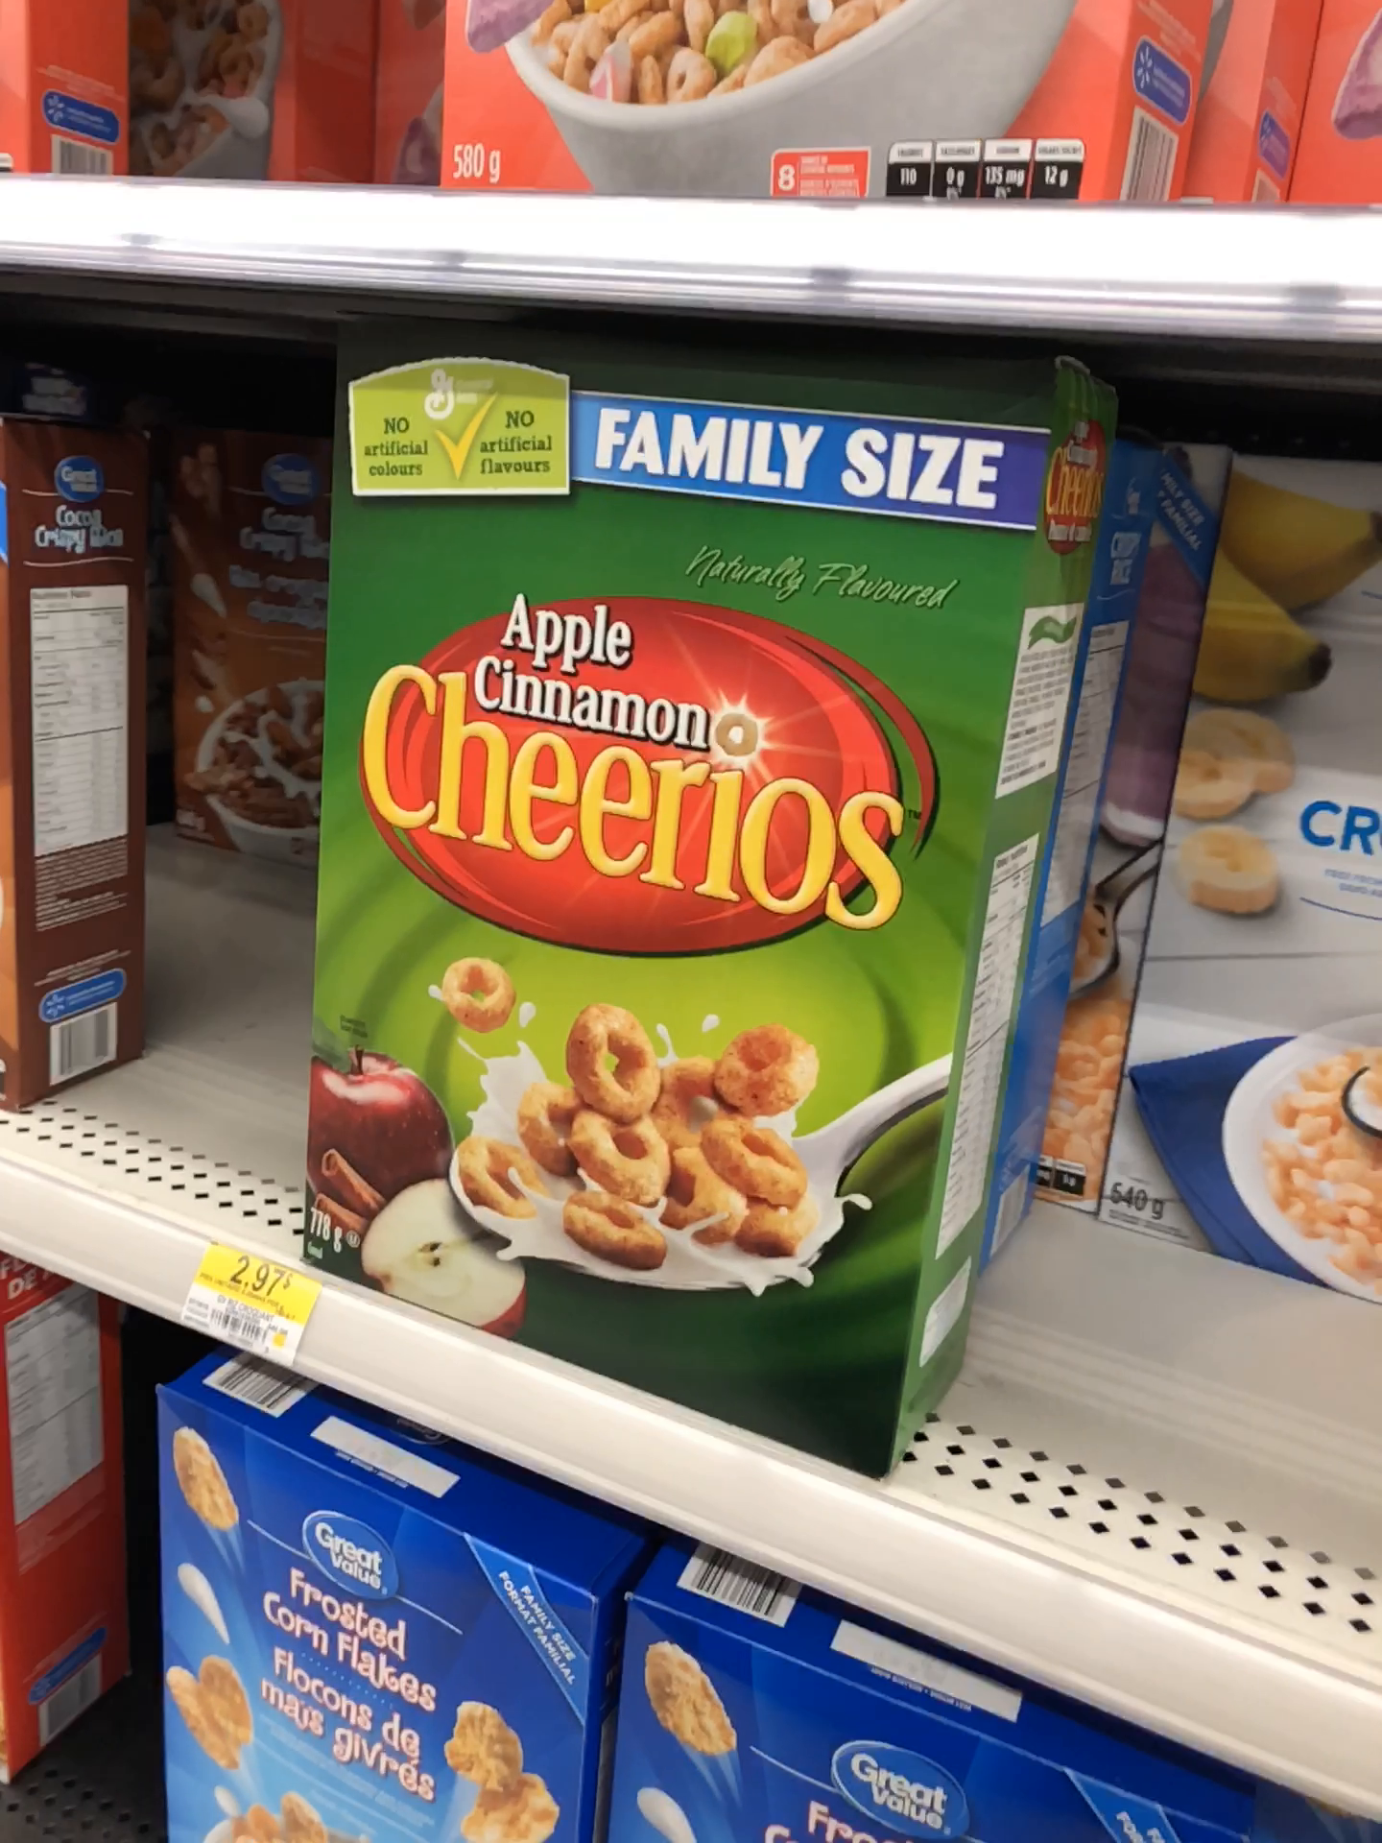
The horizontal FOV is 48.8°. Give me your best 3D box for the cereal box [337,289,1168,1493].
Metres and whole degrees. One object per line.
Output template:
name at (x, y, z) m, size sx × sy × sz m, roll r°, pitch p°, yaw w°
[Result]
cereal box at (0.007, -0.019, 0.534) m, size 0.240 × 0.358 × 0.090 m, roll 12°, pitch 17°, yaw 22°
